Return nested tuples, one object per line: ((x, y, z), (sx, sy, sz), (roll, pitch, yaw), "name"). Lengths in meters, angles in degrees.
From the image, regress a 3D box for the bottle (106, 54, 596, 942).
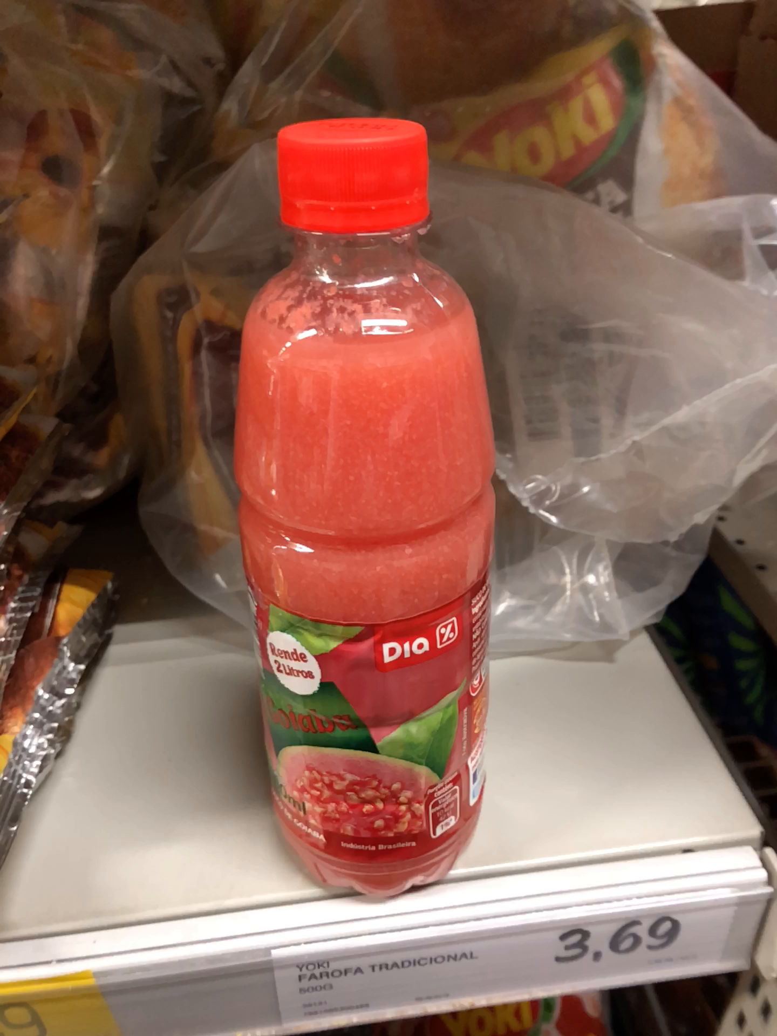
((-0.006, 0.004, 0.234), (0.070, 0.218, 0.070), (0, 33, 0), "bottle")
